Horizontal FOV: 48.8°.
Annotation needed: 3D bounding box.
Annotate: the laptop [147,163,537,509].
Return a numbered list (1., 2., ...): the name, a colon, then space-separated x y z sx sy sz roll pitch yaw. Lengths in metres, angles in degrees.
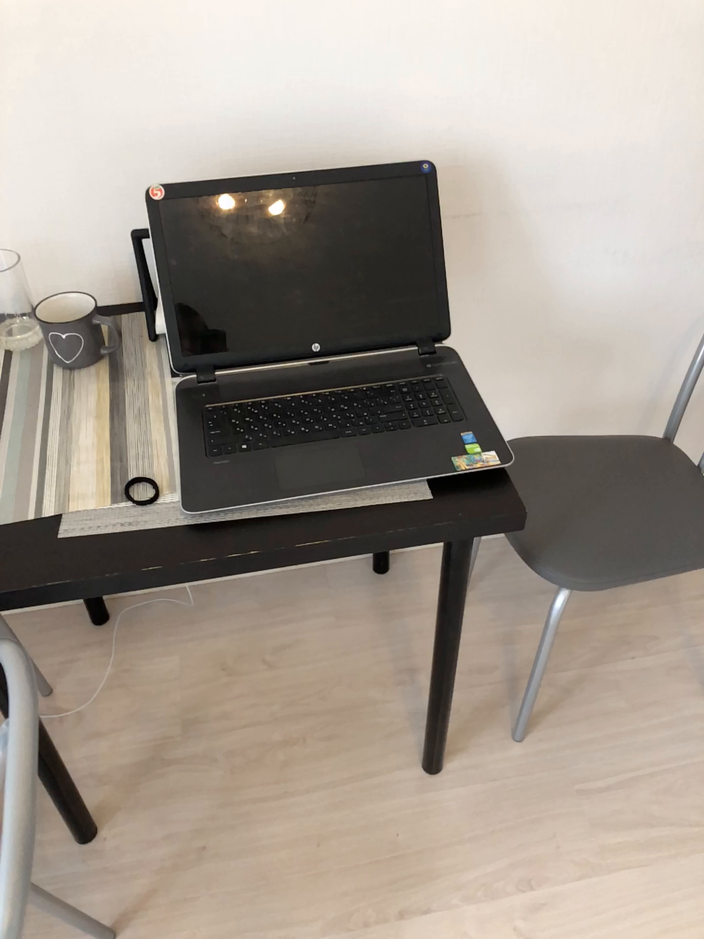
1. laptop: -0.042 -0.202 1.041 0.415 0.227 0.414 -8 43 -7
